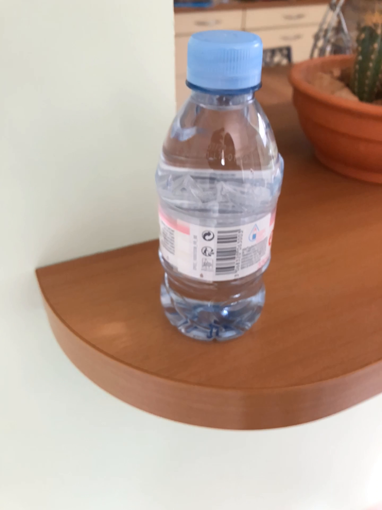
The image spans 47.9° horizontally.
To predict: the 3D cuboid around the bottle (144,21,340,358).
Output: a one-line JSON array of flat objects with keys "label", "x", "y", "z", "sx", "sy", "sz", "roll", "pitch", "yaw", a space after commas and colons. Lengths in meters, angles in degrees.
[{"label": "bottle", "x": 0.016, "y": -0.028, "z": 0.227, "sx": 0.070, "sy": 0.159, "sz": 0.070, "roll": 0, "pitch": 36, "yaw": 0}]
